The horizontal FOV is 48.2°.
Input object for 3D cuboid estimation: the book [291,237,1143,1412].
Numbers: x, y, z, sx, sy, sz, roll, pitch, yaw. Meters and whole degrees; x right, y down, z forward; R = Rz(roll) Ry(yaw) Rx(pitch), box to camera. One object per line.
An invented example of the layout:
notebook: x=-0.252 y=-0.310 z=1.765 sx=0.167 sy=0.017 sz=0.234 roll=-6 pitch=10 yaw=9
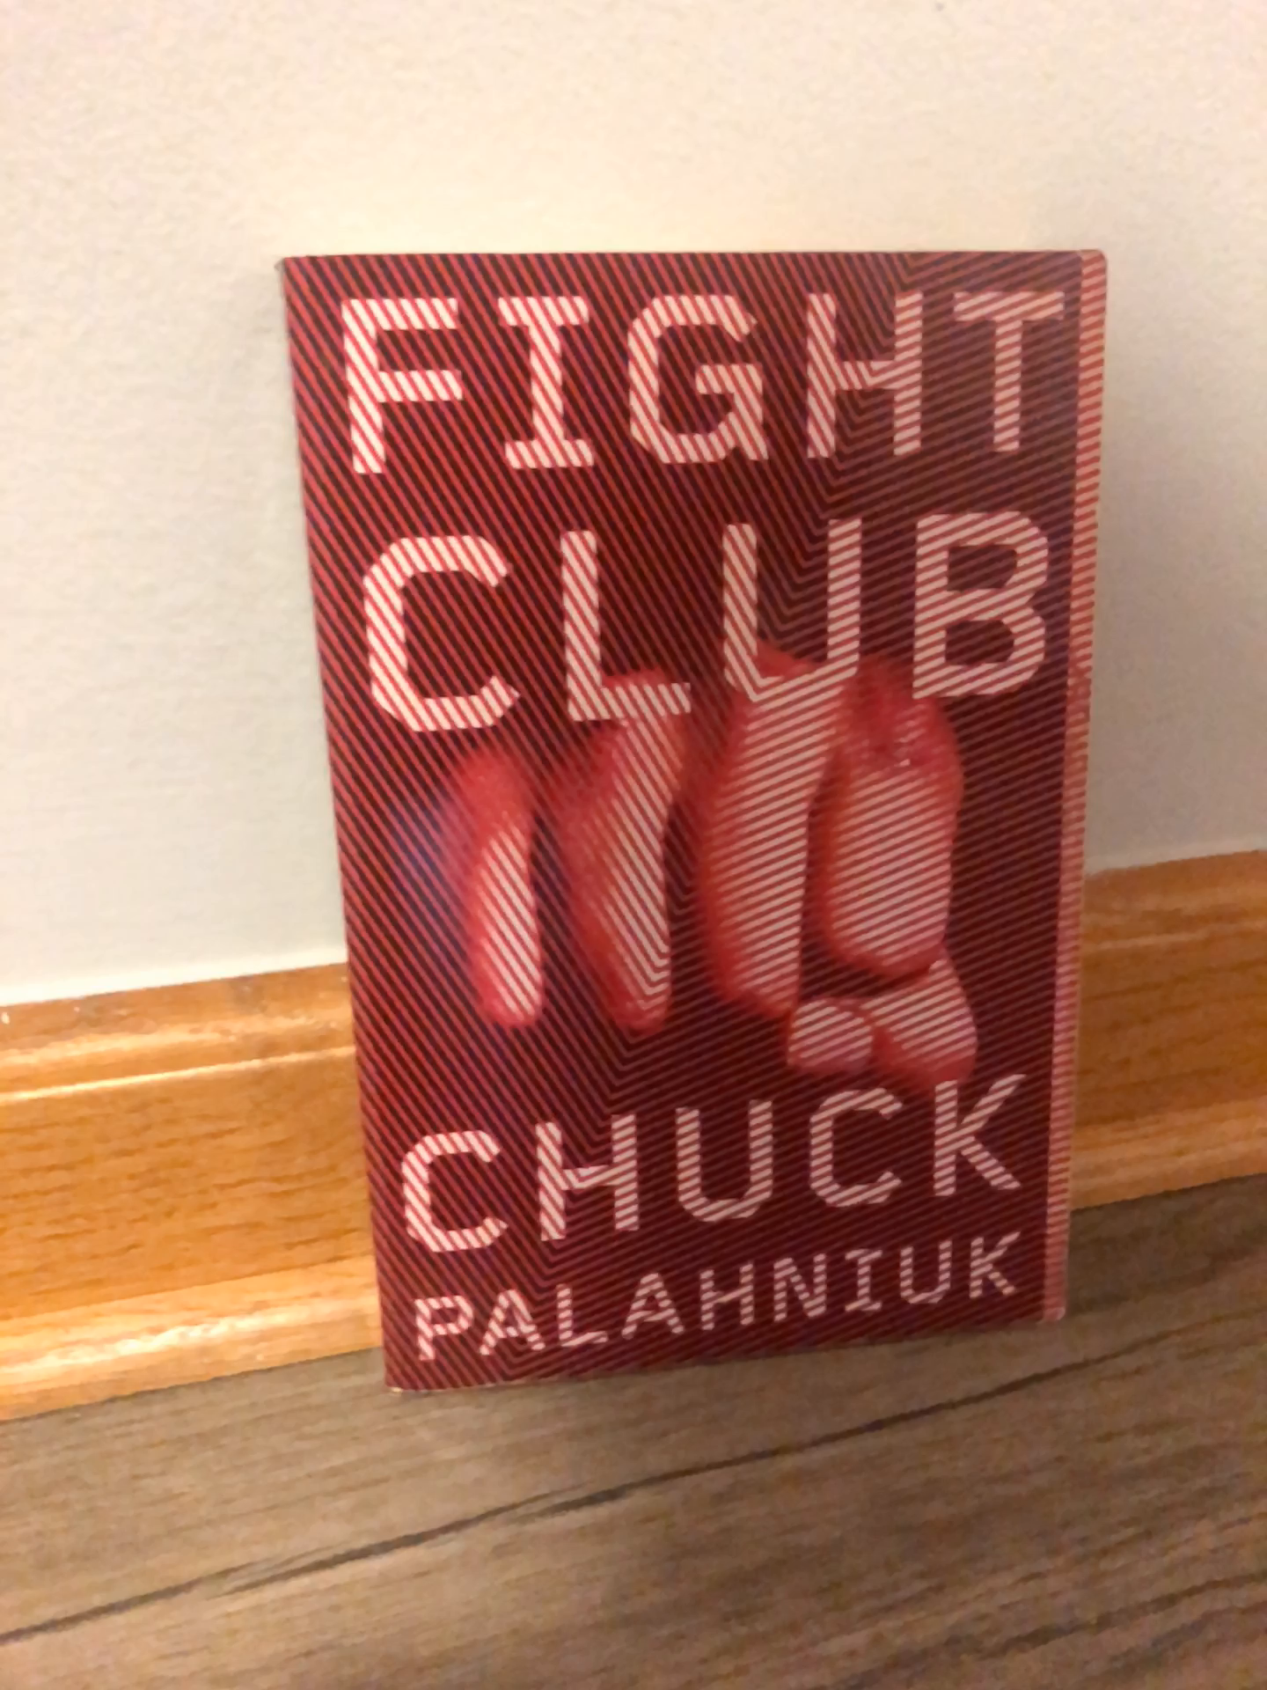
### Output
book: x=0.016 y=0.000 z=0.269 sx=0.138 sy=0.210 sz=0.030 roll=-4 pitch=17 yaw=-9
